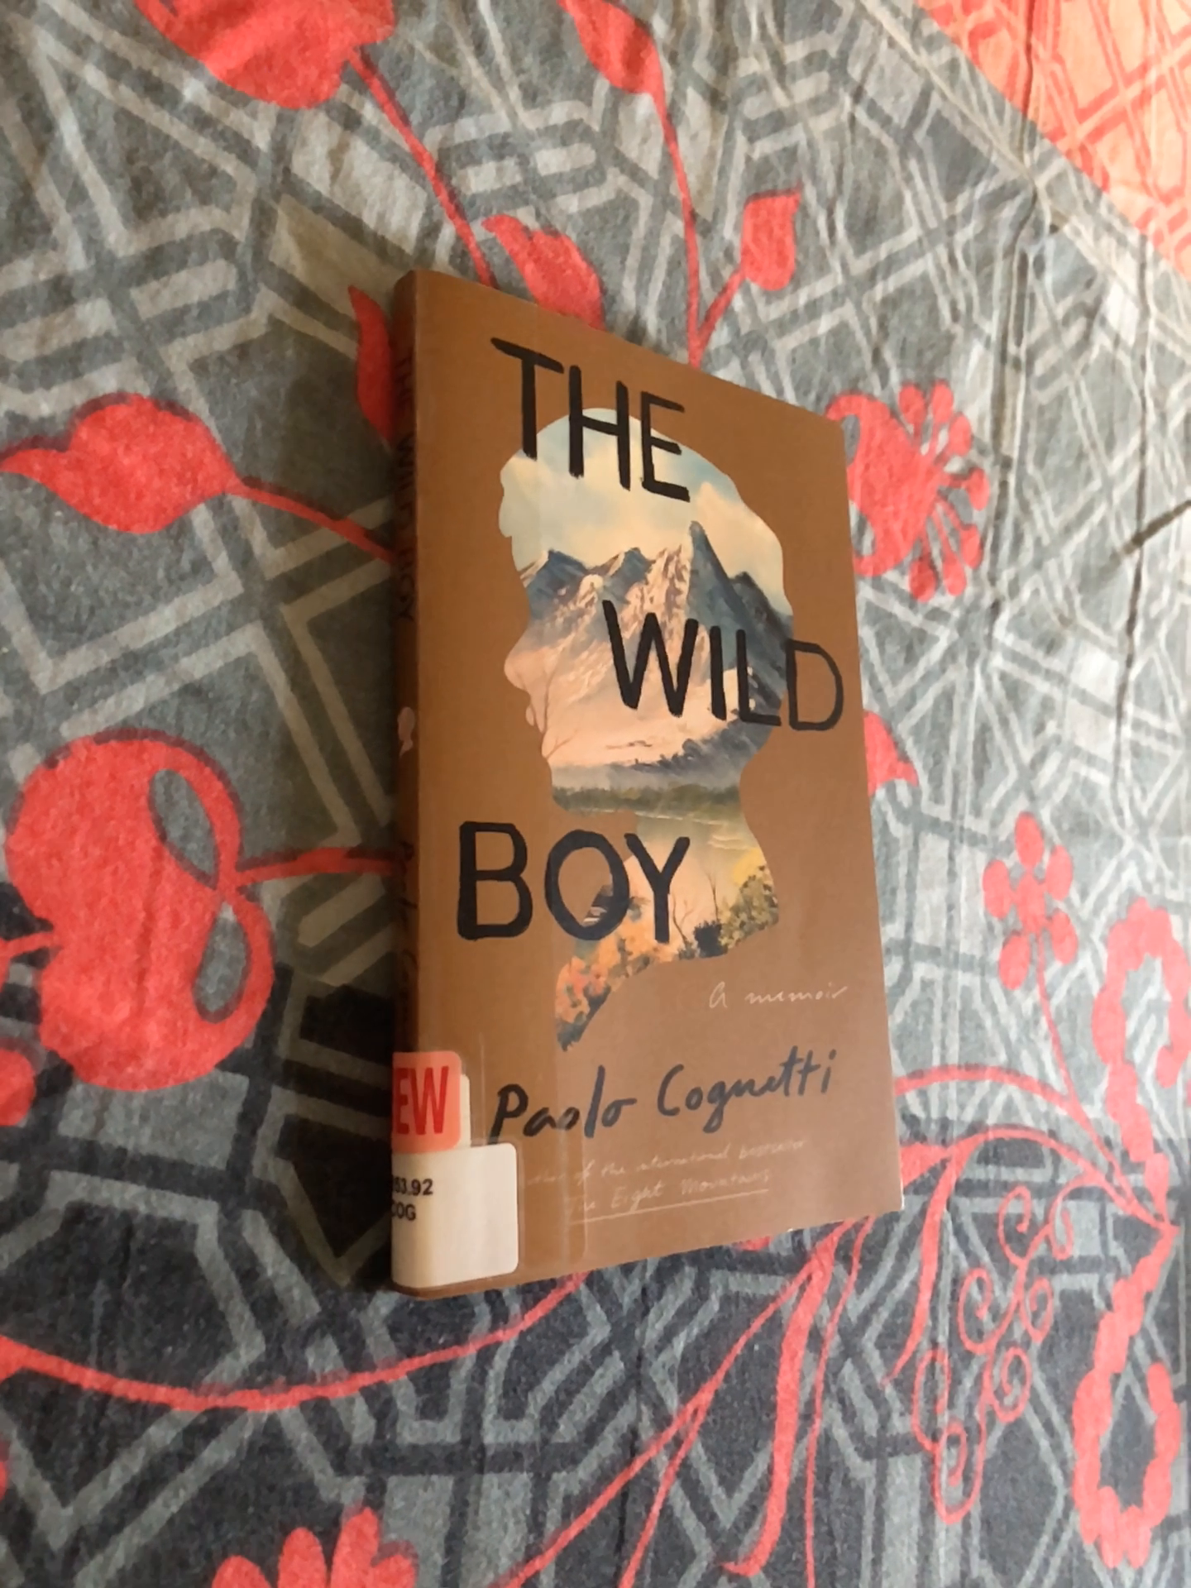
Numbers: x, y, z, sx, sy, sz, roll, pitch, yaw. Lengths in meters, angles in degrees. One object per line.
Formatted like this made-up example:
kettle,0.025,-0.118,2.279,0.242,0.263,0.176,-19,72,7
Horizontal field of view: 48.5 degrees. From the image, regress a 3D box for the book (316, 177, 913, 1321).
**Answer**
book,0.009,-0.009,0.320,0.151,0.030,0.230,4,80,-39
